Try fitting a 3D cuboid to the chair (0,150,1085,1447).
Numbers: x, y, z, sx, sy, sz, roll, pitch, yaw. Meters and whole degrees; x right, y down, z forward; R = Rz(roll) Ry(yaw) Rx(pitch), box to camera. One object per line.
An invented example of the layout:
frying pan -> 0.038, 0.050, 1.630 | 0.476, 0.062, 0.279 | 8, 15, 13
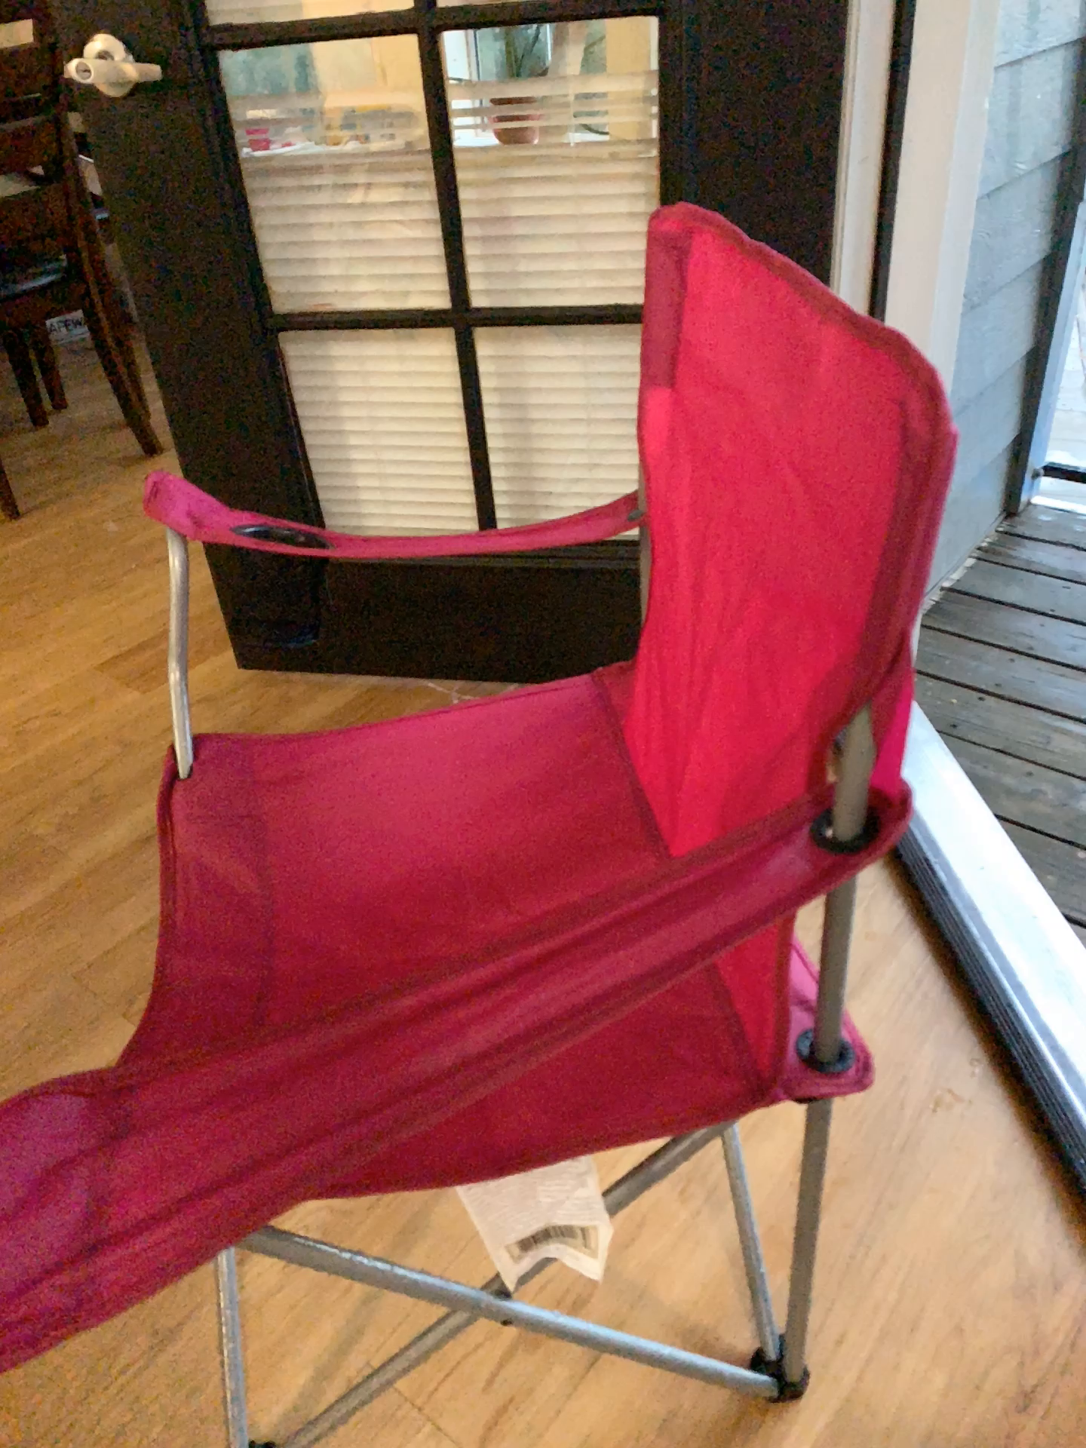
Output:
chair -> -0.030, 0.094, 0.792 | 0.670, 0.776, 0.653 | -7, 34, -3
